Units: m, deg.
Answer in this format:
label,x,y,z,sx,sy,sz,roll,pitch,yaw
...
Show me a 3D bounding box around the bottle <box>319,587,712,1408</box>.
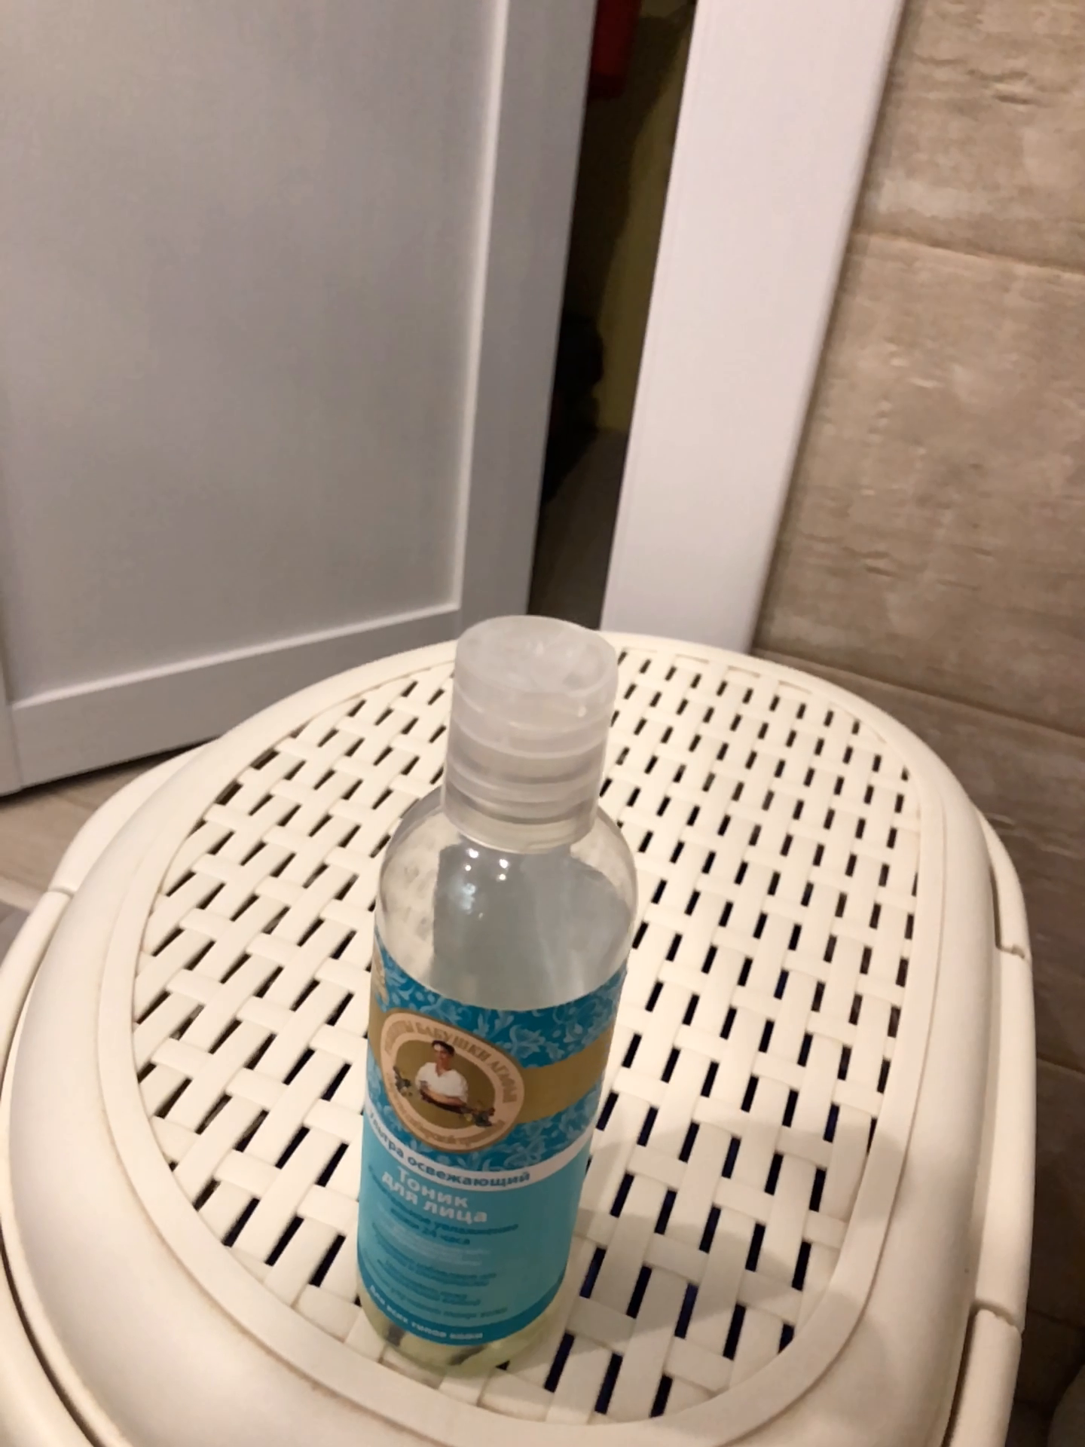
label,x,y,z,sx,sy,sz,roll,pitch,yaw
bottle,-0.010,0.057,0.225,0.045,0.153,0.045,5,33,-3
